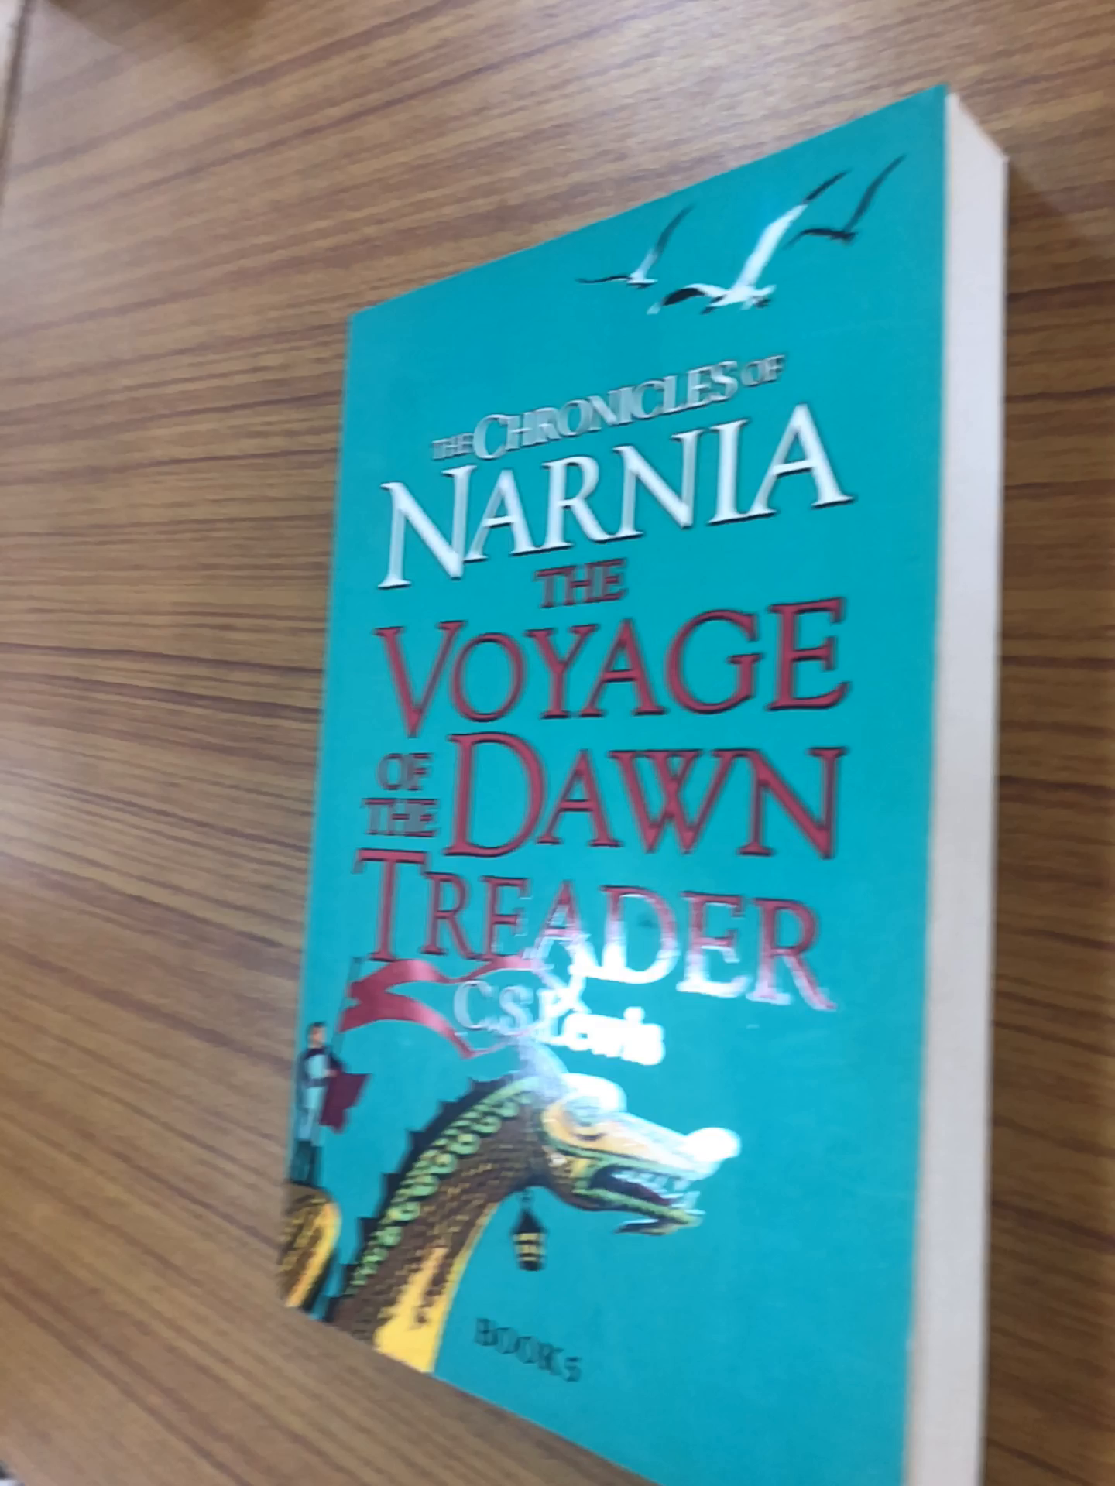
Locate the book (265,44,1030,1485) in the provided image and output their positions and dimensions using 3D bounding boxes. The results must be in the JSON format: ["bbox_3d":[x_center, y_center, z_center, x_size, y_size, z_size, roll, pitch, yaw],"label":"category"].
[{"bbox_3d":[0.009,0.007,0.216,0.131,0.030,0.200,-2,83,41],"label":"book"}]
